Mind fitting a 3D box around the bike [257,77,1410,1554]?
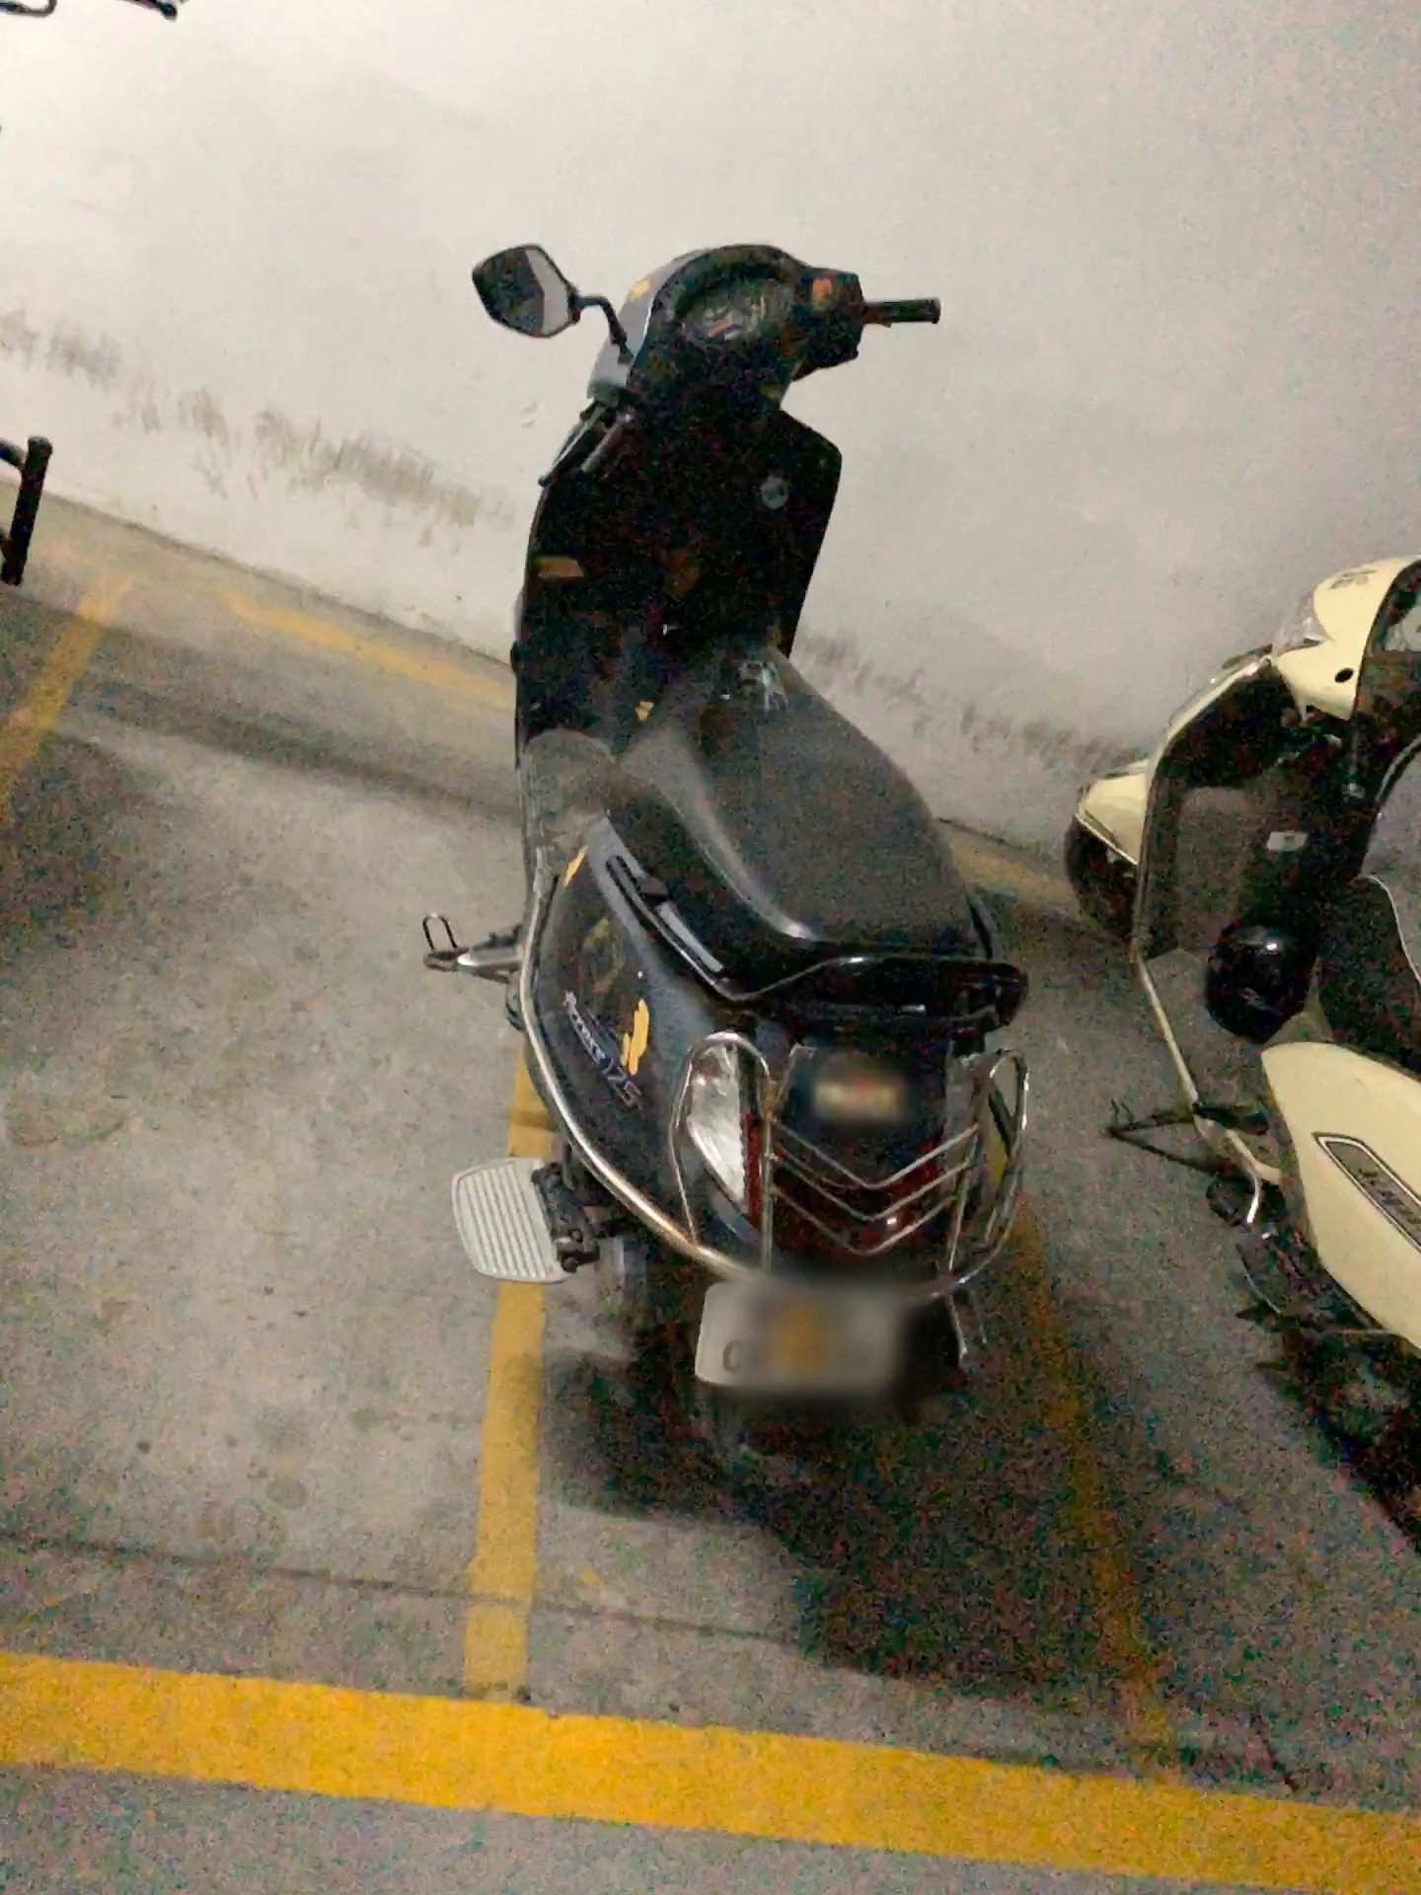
[{"bbox_3d":[-0.134,-0.221,1.964,0.654,1.239,1.536,11,37,-26],"label":"bike"}]
